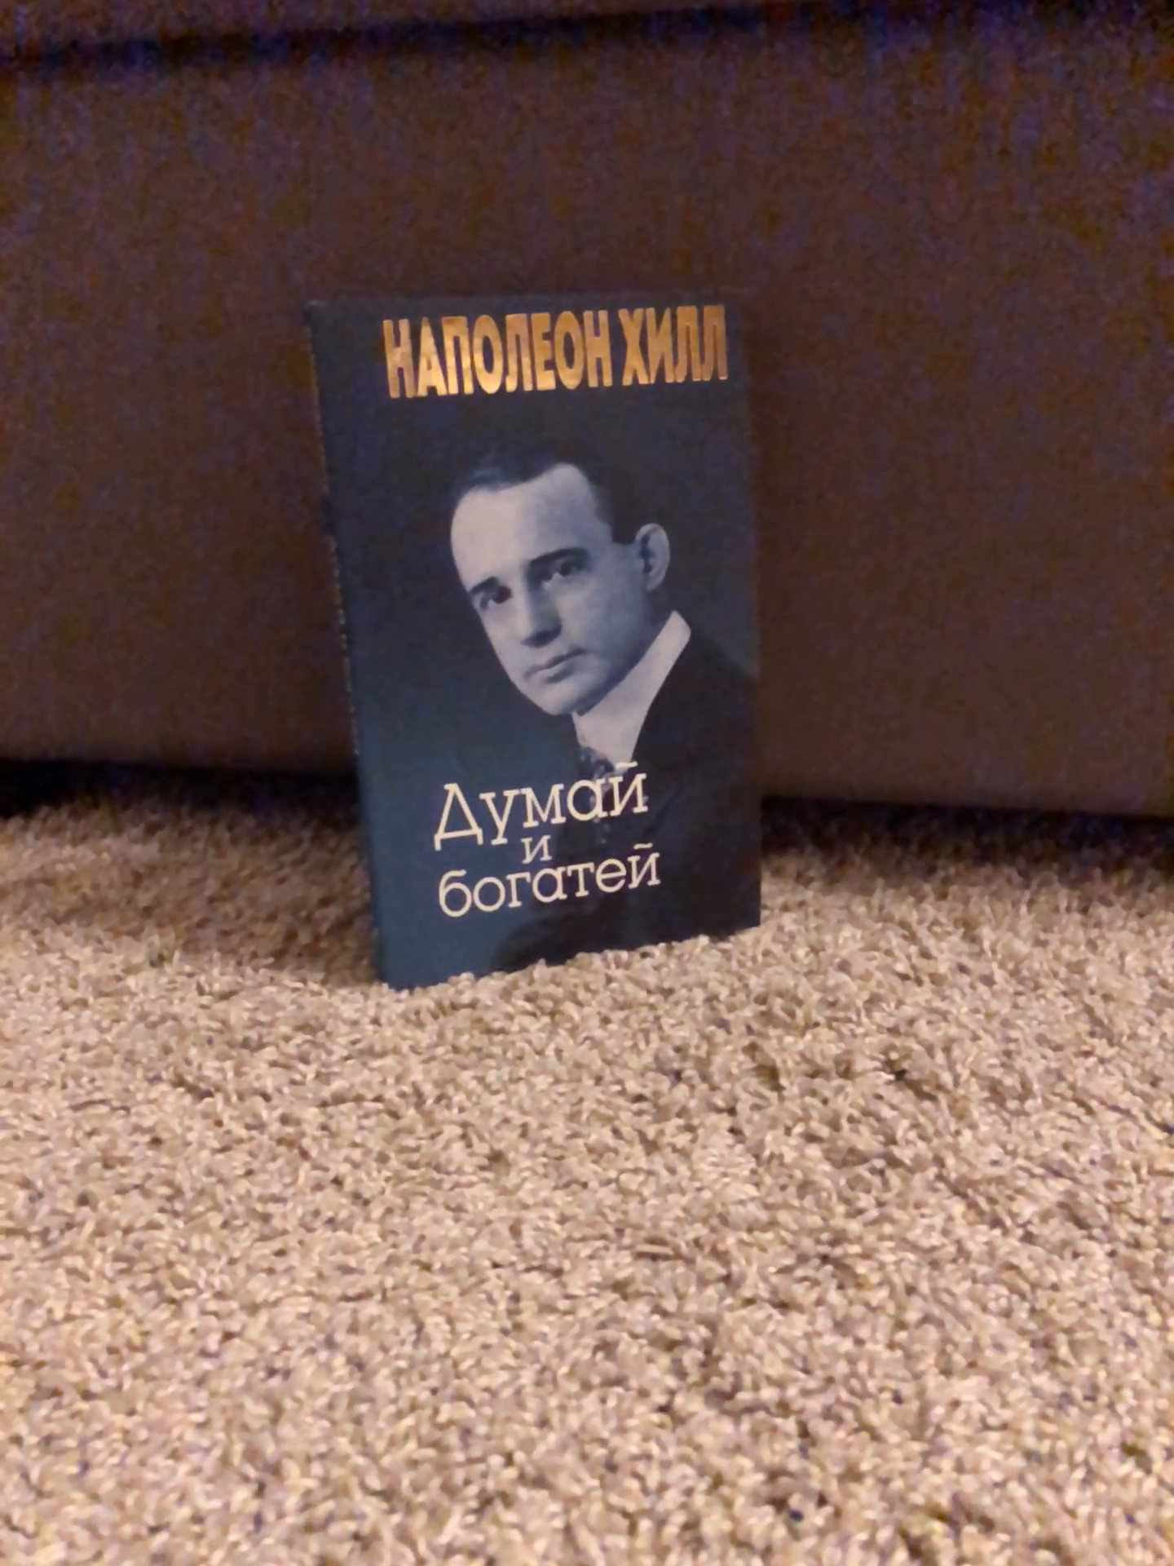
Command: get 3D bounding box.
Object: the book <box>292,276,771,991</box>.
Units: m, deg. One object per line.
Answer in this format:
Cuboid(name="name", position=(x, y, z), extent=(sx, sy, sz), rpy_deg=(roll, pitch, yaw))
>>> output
Cuboid(name="book", position=(-0.012, -0.046, 0.393), extent=(0.132, 0.198, 0.030), rpy_deg=(-7, 13, -17))
